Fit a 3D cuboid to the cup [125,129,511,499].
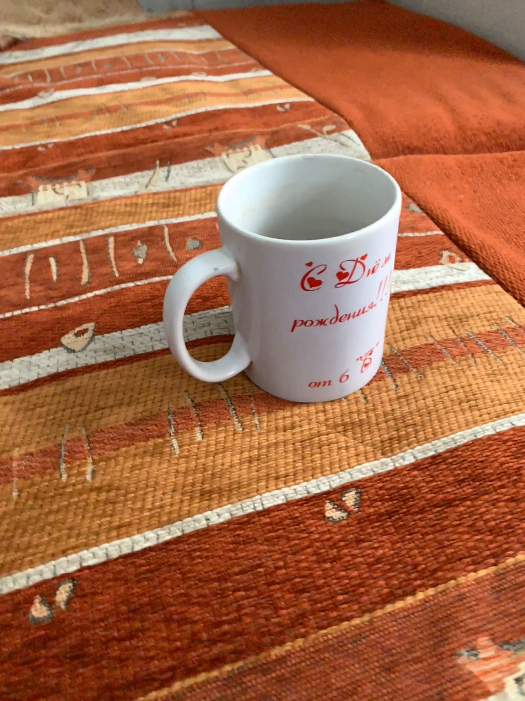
[{"bbox_3d":[0.020,-0.020,0.223,0.110,0.089,0.081,-24,45,-20],"label":"cup"}]
